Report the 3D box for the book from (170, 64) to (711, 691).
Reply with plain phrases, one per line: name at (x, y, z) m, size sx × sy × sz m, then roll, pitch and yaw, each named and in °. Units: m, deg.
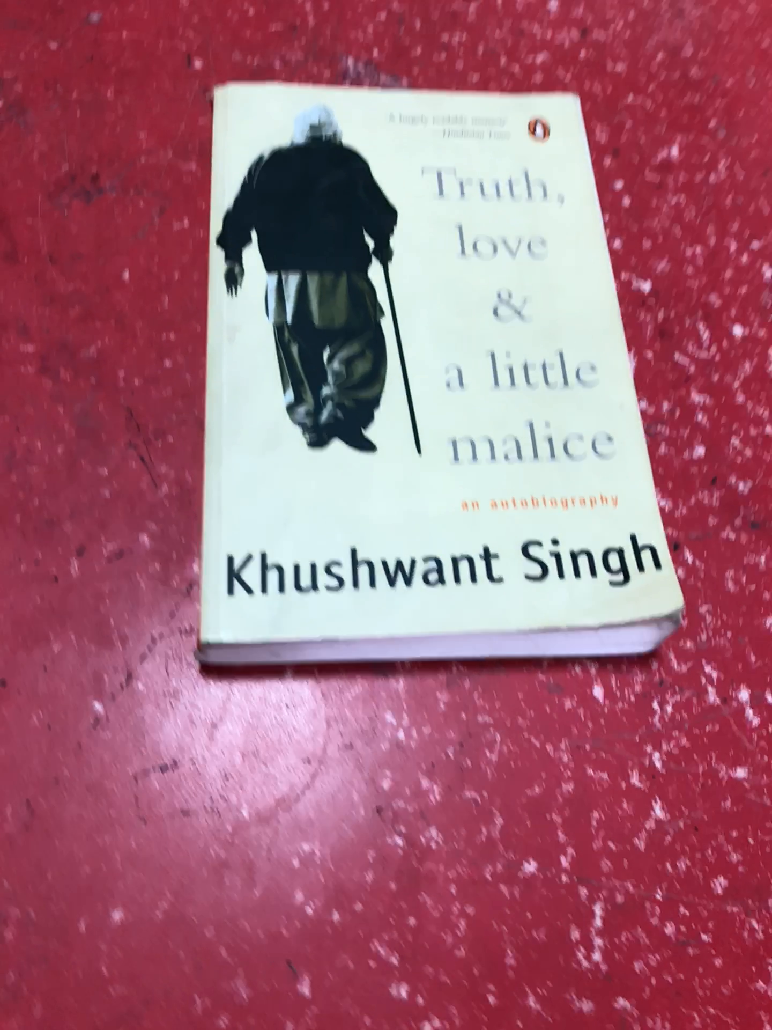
book at (0.010, -0.053, 0.282) m, size 0.140 × 0.040 × 0.210 m, roll -1°, pitch 66°, yaw -5°
